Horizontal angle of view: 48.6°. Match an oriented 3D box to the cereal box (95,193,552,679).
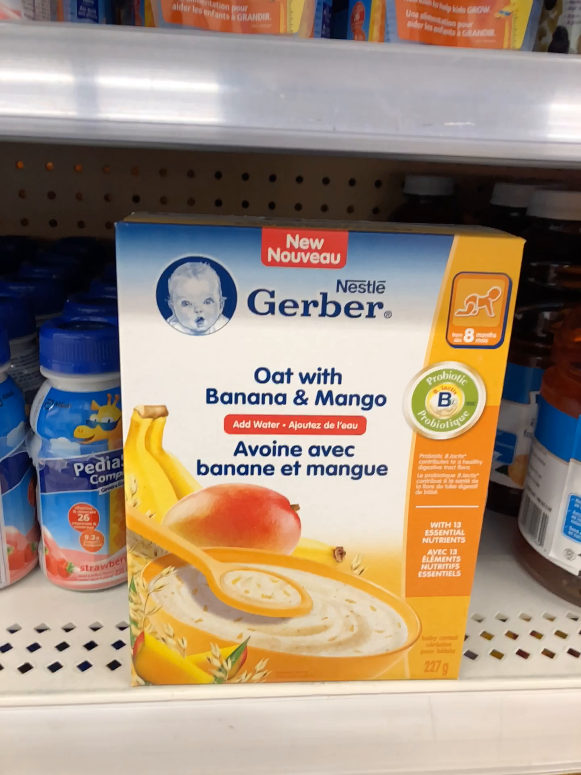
[{"bbox_3d":[0.006,0.026,0.259,0.150,0.189,0.040,2,19,-5],"label":"cereal box"}]
